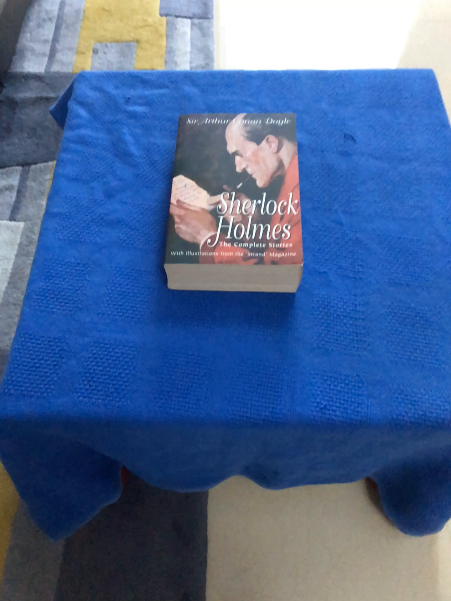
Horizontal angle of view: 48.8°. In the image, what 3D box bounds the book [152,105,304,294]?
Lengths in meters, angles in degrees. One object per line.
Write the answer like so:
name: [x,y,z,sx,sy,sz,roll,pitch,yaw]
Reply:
book: [0.007,-0.131,0.614,0.160,0.070,0.241,1,61,3]
